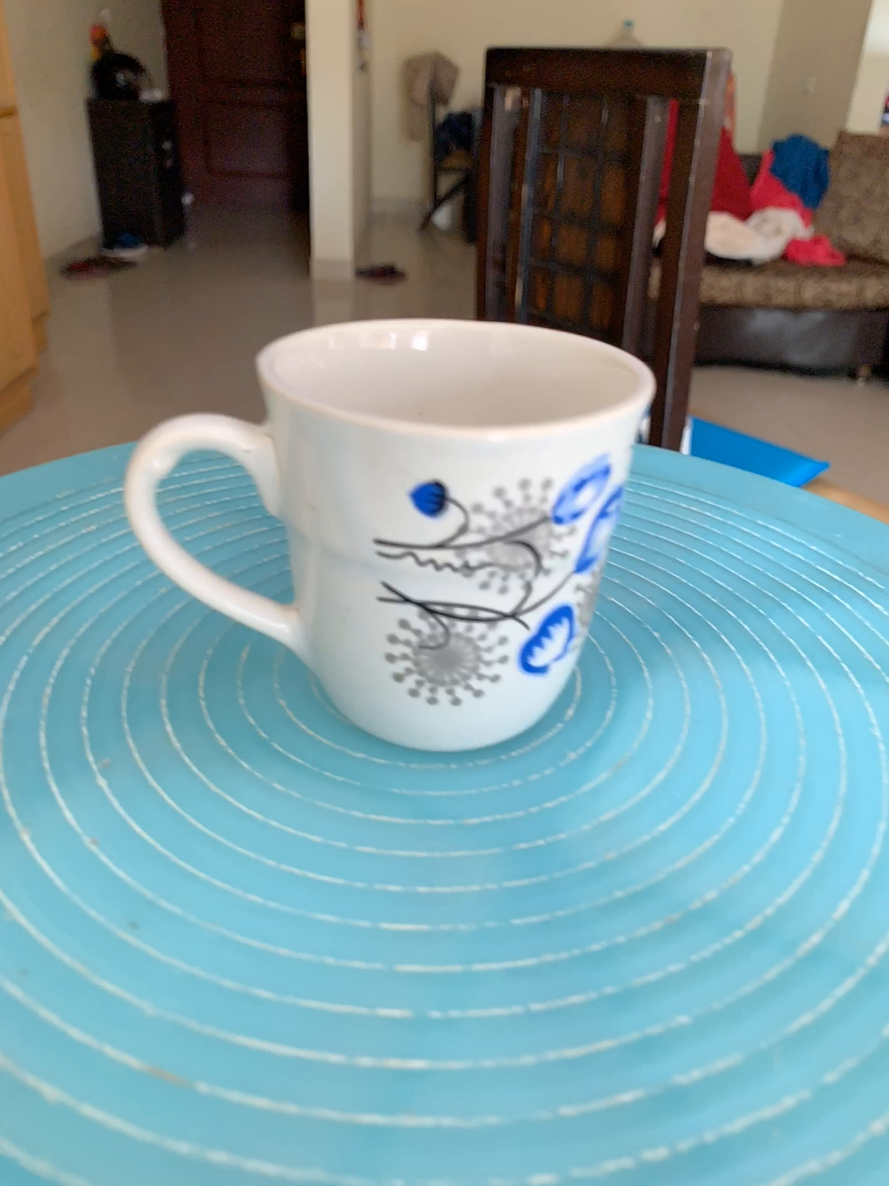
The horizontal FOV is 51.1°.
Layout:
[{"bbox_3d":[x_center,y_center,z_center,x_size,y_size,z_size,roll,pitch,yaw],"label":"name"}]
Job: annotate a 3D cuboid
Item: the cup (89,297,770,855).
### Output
[{"bbox_3d":[-0.007,-0.013,0.167,0.090,0.060,0.070,-12,32,-26],"label":"cup"}]
